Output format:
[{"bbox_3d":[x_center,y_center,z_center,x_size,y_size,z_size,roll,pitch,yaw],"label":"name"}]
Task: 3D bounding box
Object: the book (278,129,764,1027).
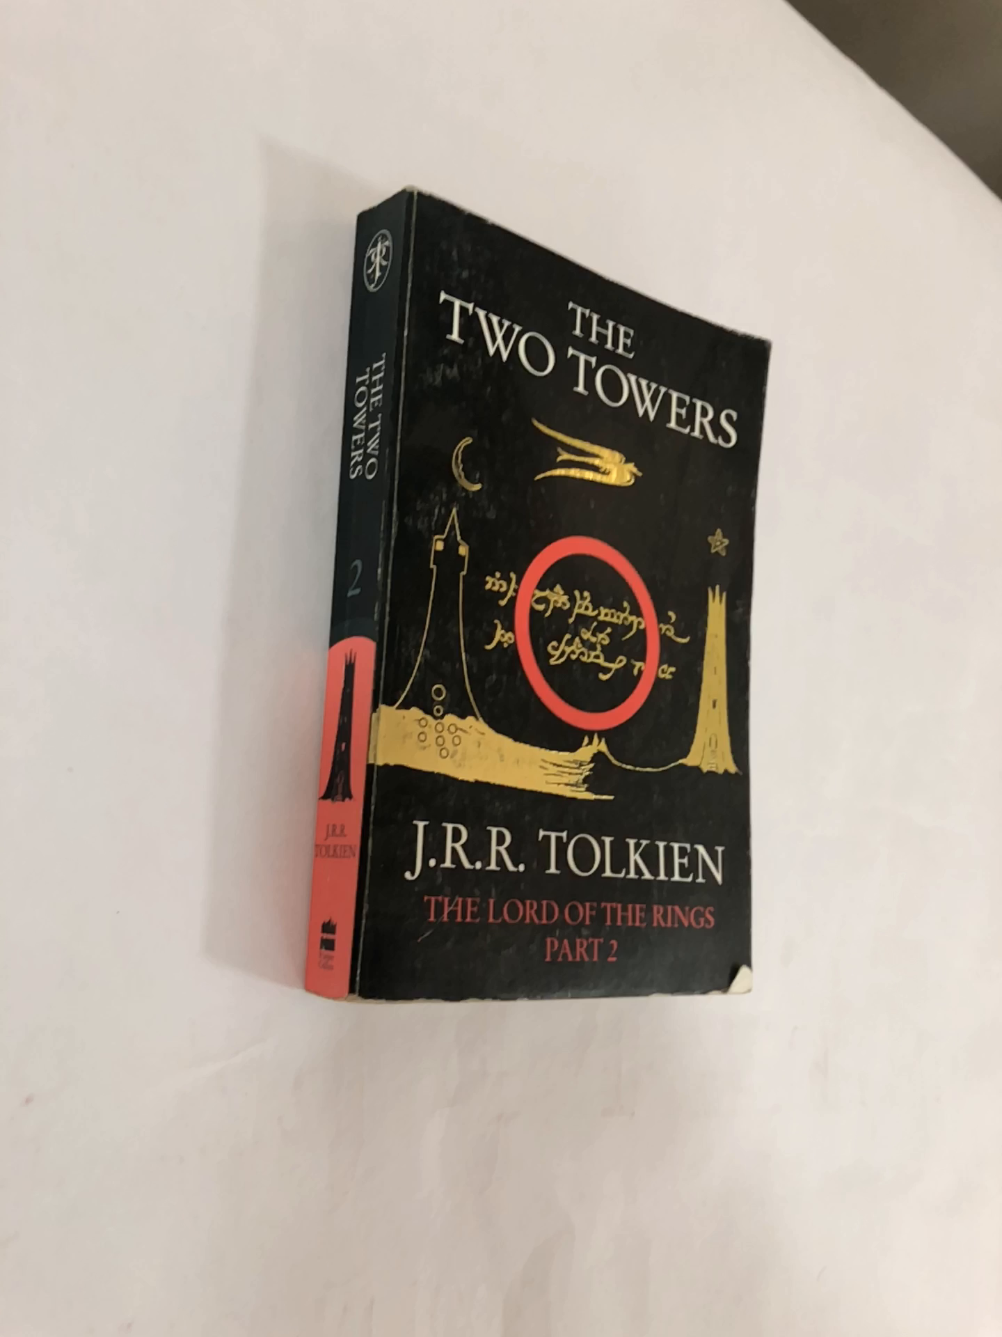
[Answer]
[{"bbox_3d":[0.014,-0.016,0.293,0.131,0.030,0.200,11,76,-38],"label":"book"}]
